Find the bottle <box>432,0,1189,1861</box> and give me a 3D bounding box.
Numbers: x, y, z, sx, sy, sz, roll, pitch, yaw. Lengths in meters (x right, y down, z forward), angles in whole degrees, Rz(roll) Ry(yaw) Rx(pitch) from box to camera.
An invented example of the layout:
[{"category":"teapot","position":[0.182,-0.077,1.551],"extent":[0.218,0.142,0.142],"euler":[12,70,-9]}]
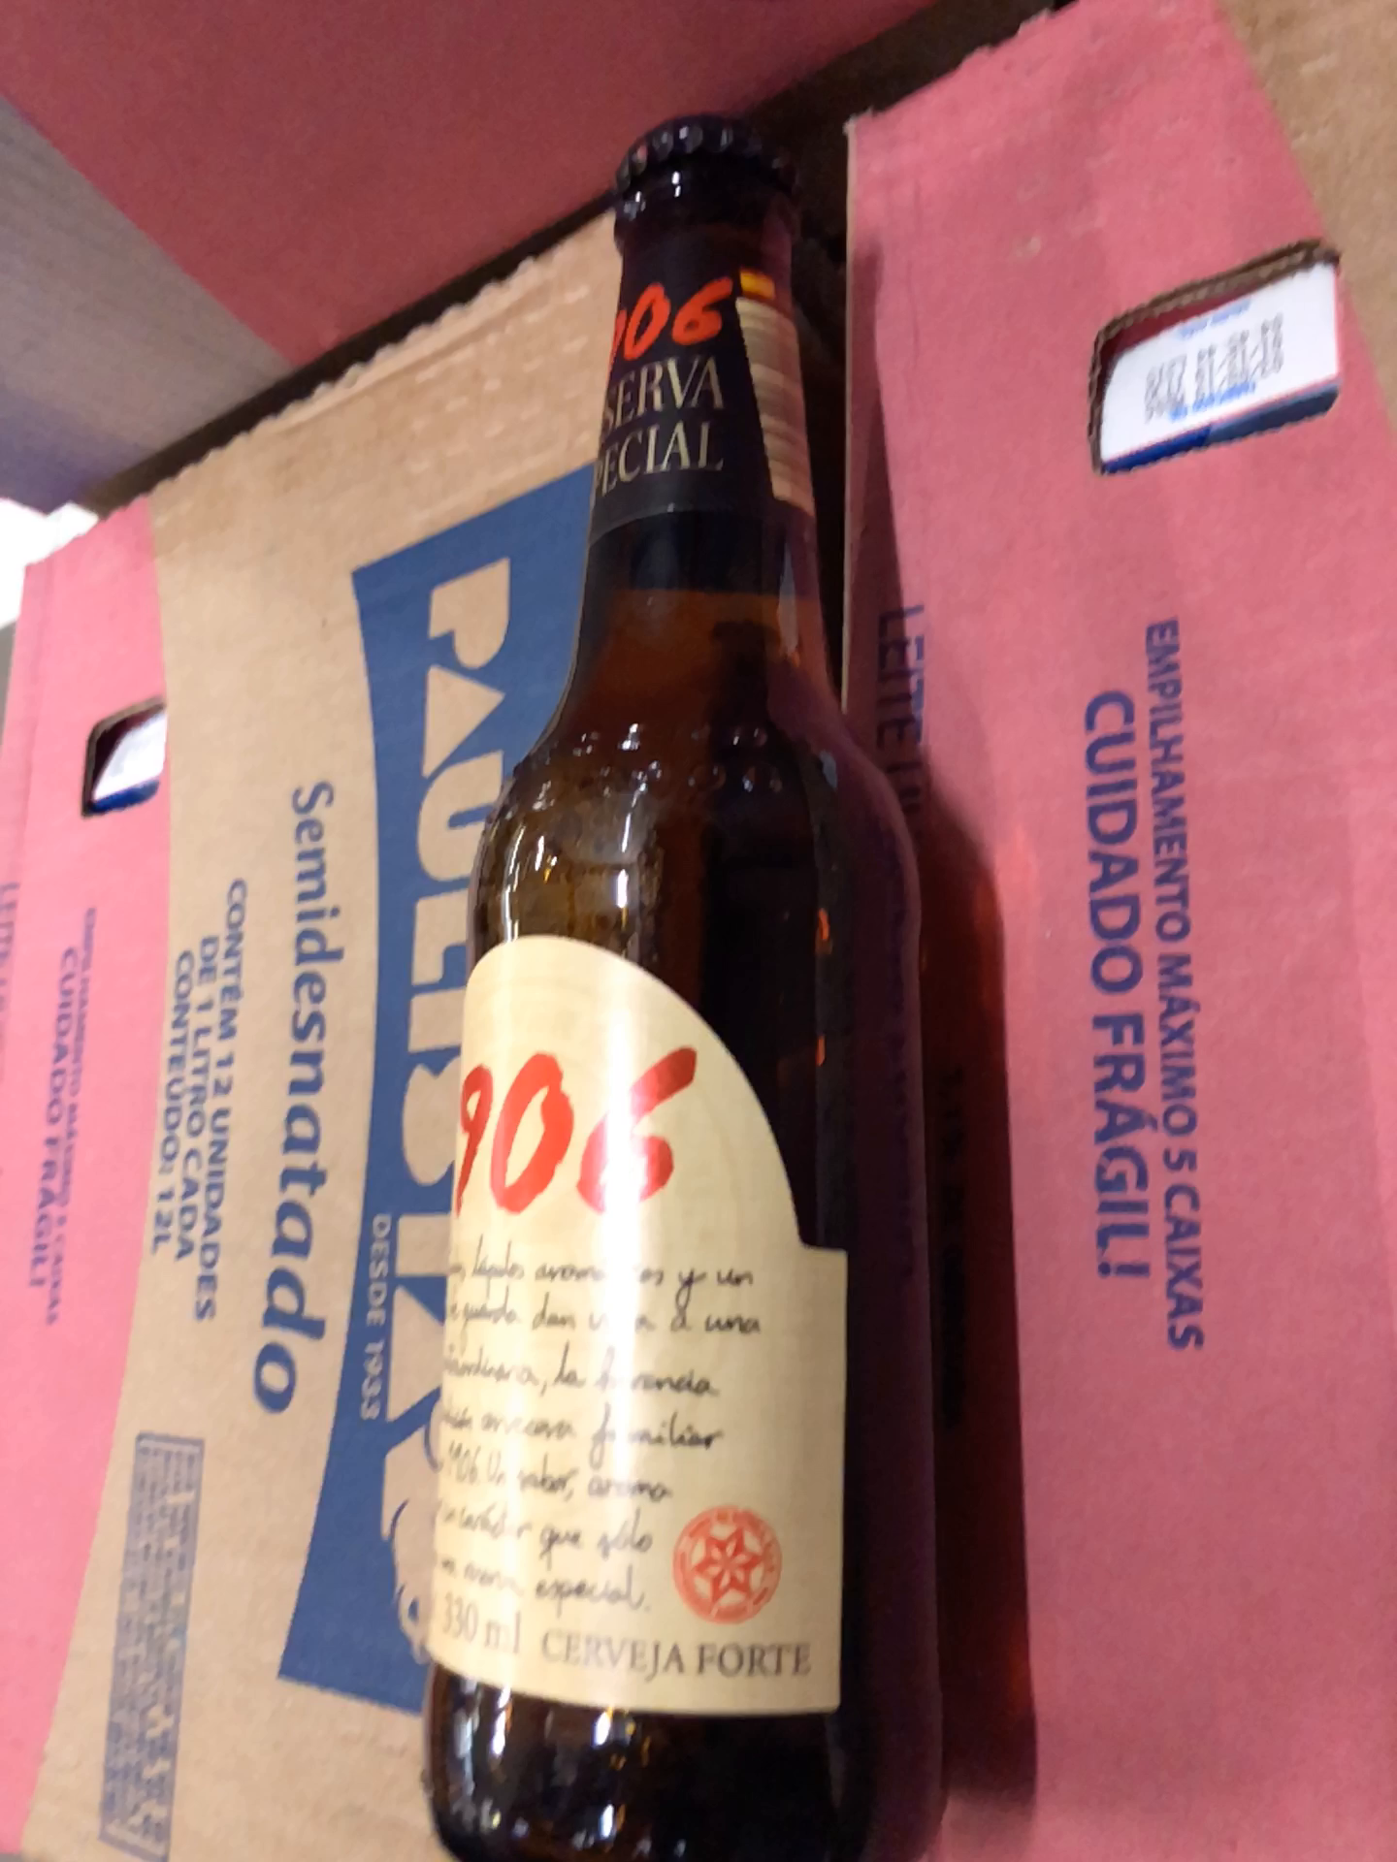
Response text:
[{"category":"bottle","position":[0.015,-0.011,0.218],"extent":[0.070,0.060,0.270],"euler":[-9,75,37]}]
